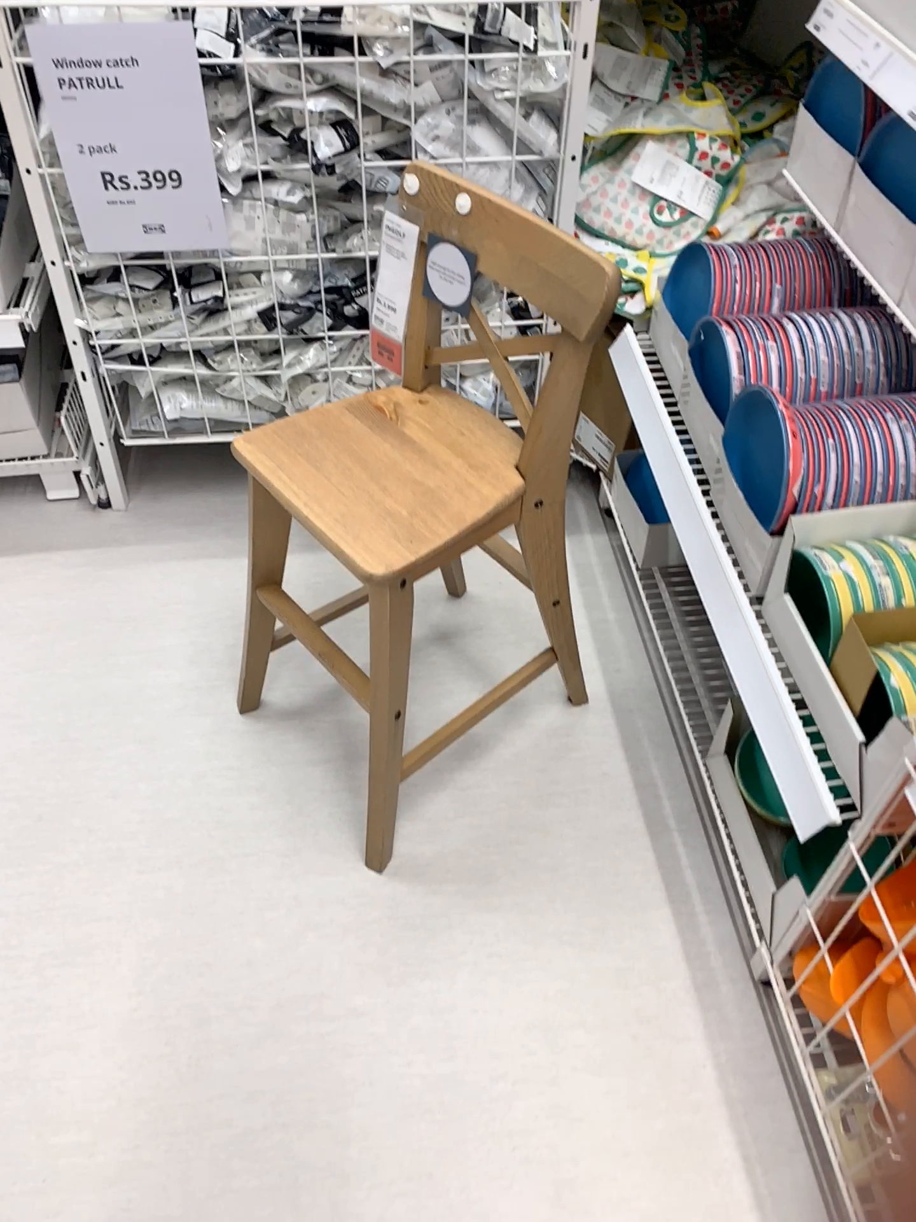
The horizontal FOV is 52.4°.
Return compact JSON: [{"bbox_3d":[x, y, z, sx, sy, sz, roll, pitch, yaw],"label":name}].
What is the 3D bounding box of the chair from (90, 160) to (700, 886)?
[{"bbox_3d":[-0.065,-0.089,1.167,0.461,0.688,0.381,-33,57,-28],"label":"chair"}]
